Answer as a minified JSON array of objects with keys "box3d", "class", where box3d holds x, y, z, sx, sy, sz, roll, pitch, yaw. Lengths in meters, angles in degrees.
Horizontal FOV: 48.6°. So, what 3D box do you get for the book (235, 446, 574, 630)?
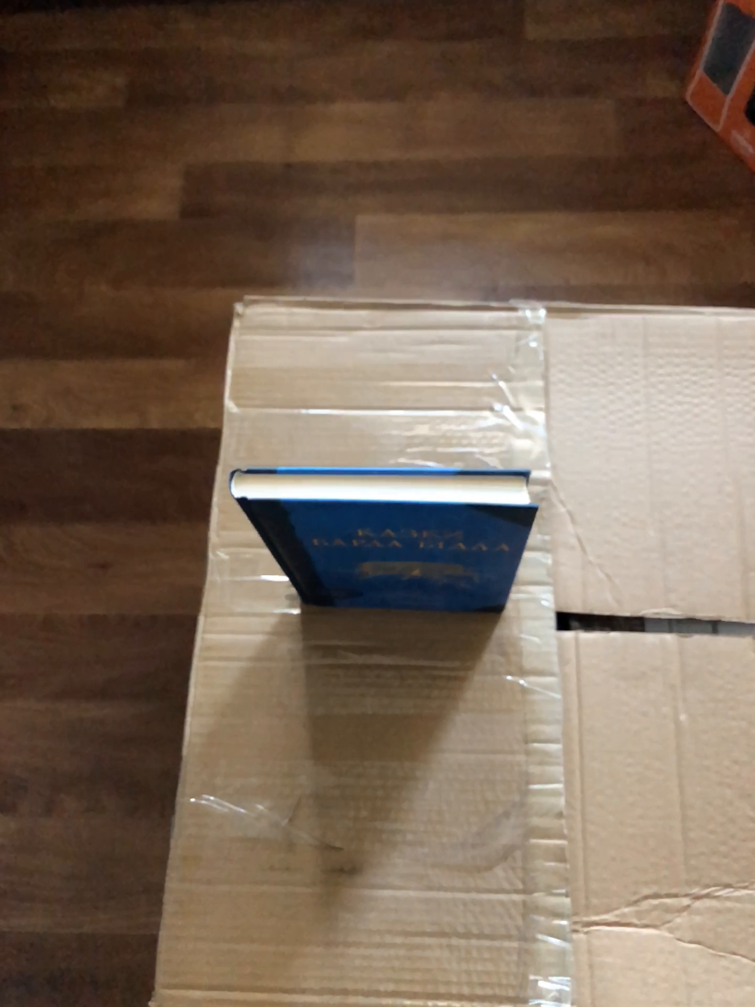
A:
[{"box3d":[0.015,0.028,0.453,0.144,0.199,0.030,2,68,3],"class":"book"}]
